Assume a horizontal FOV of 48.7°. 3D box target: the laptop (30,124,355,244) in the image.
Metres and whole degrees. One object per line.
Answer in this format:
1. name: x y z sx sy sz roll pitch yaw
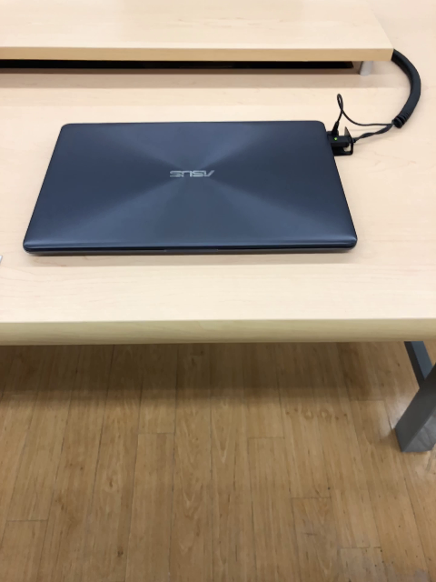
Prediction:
1. laptop: -0.032 -0.139 0.587 0.345 0.002 0.229 -1 50 -1
